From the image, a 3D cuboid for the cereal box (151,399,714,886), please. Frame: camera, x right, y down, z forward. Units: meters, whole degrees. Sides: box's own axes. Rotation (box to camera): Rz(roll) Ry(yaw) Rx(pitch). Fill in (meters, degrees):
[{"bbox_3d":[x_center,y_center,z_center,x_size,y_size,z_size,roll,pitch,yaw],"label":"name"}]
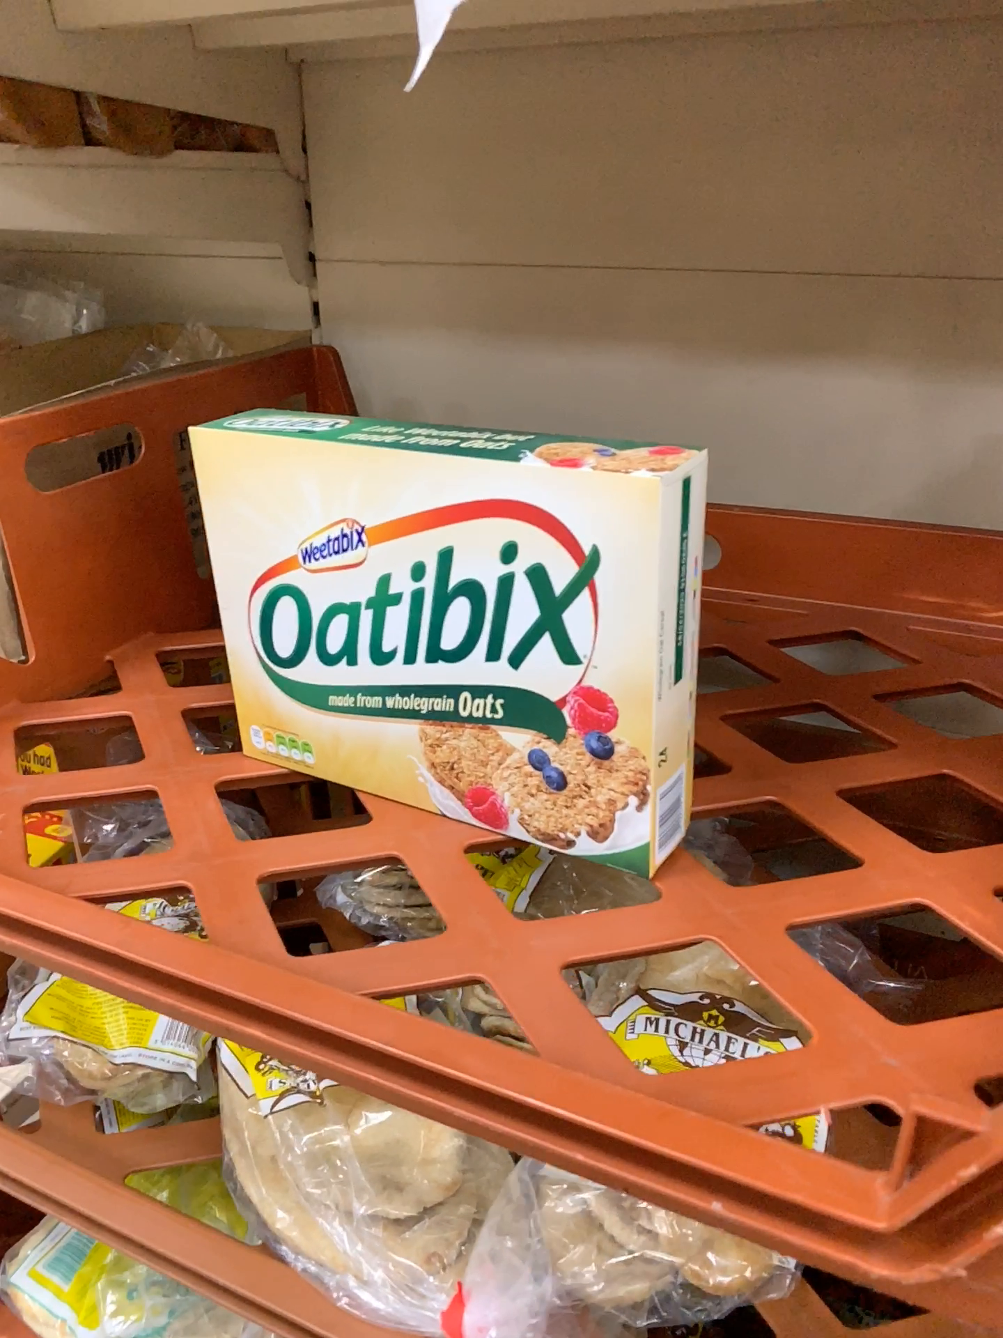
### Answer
[{"bbox_3d":[-0.038,-0.026,0.500,0.260,0.179,0.070,13,27,28],"label":"cereal box"}]
